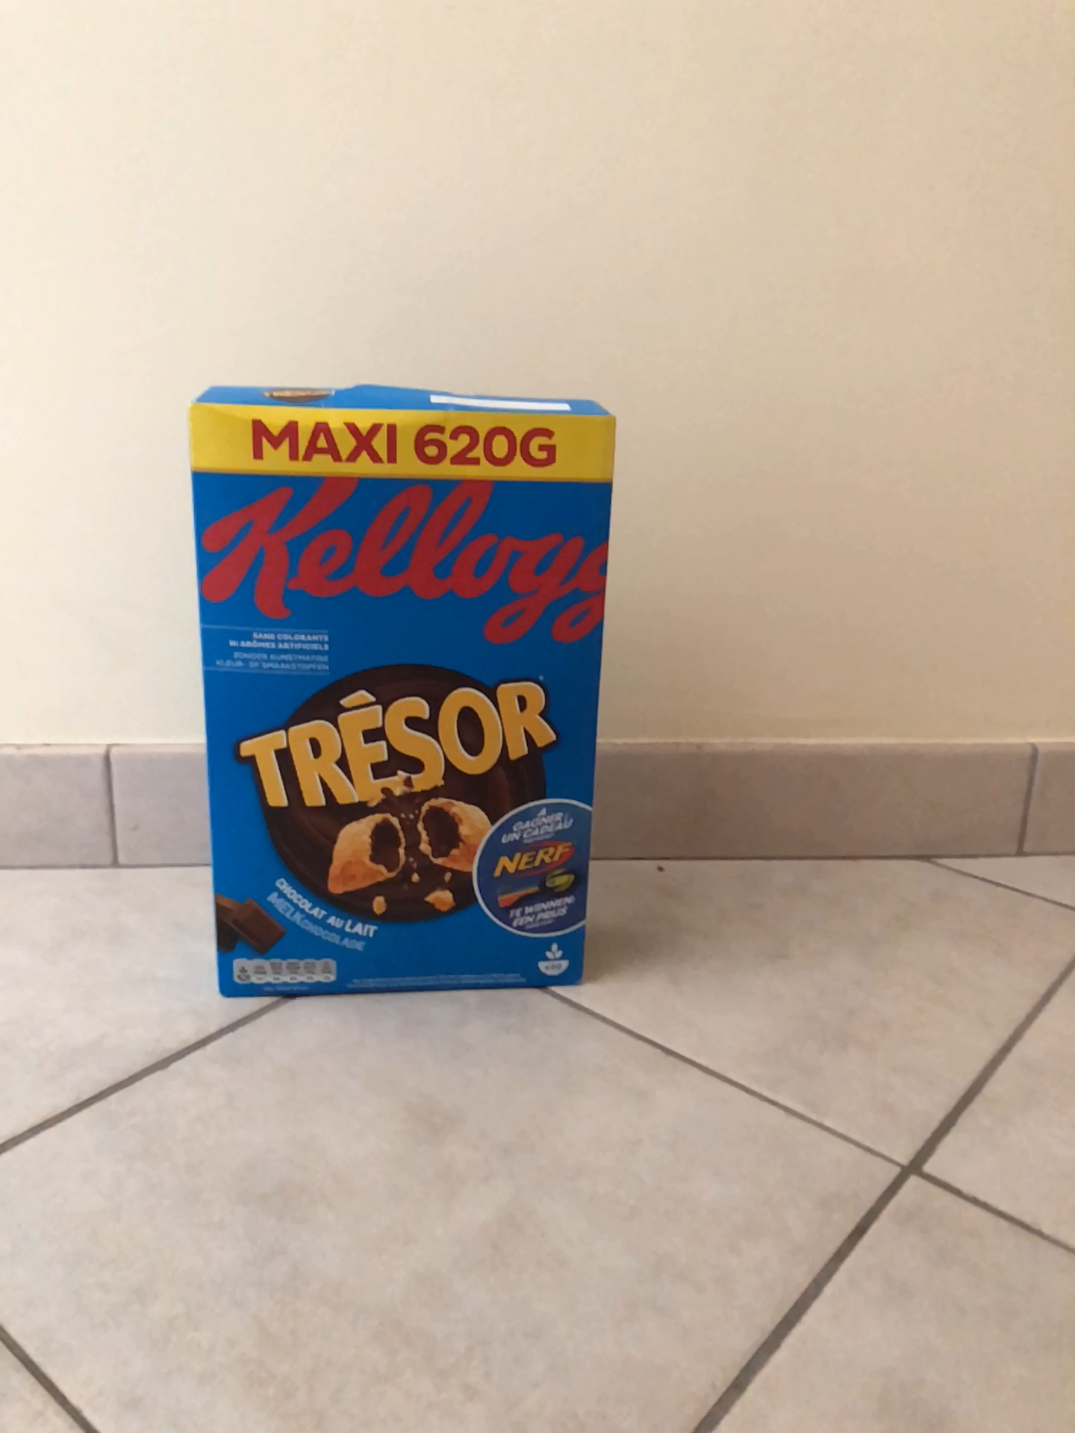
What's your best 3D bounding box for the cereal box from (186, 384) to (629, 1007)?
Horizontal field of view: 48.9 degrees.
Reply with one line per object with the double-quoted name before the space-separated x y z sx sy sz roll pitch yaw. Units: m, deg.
"cereal box" -0.063 -0.006 0.592 0.190 0.299 0.070 0 20 -7
